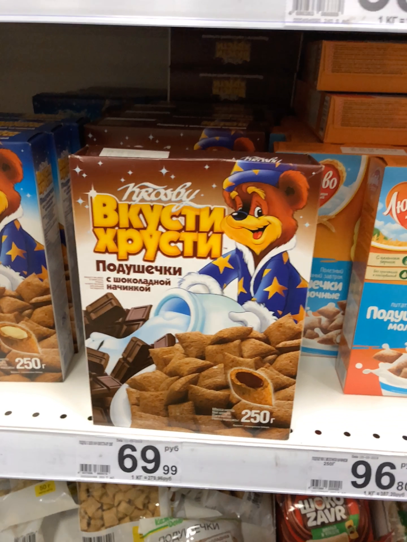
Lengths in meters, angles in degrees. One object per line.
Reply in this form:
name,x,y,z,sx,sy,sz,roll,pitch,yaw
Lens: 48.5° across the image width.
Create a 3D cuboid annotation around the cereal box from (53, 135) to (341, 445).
cereal box,-0.007,0.020,0.349,0.180,0.229,0.050,4,23,3
